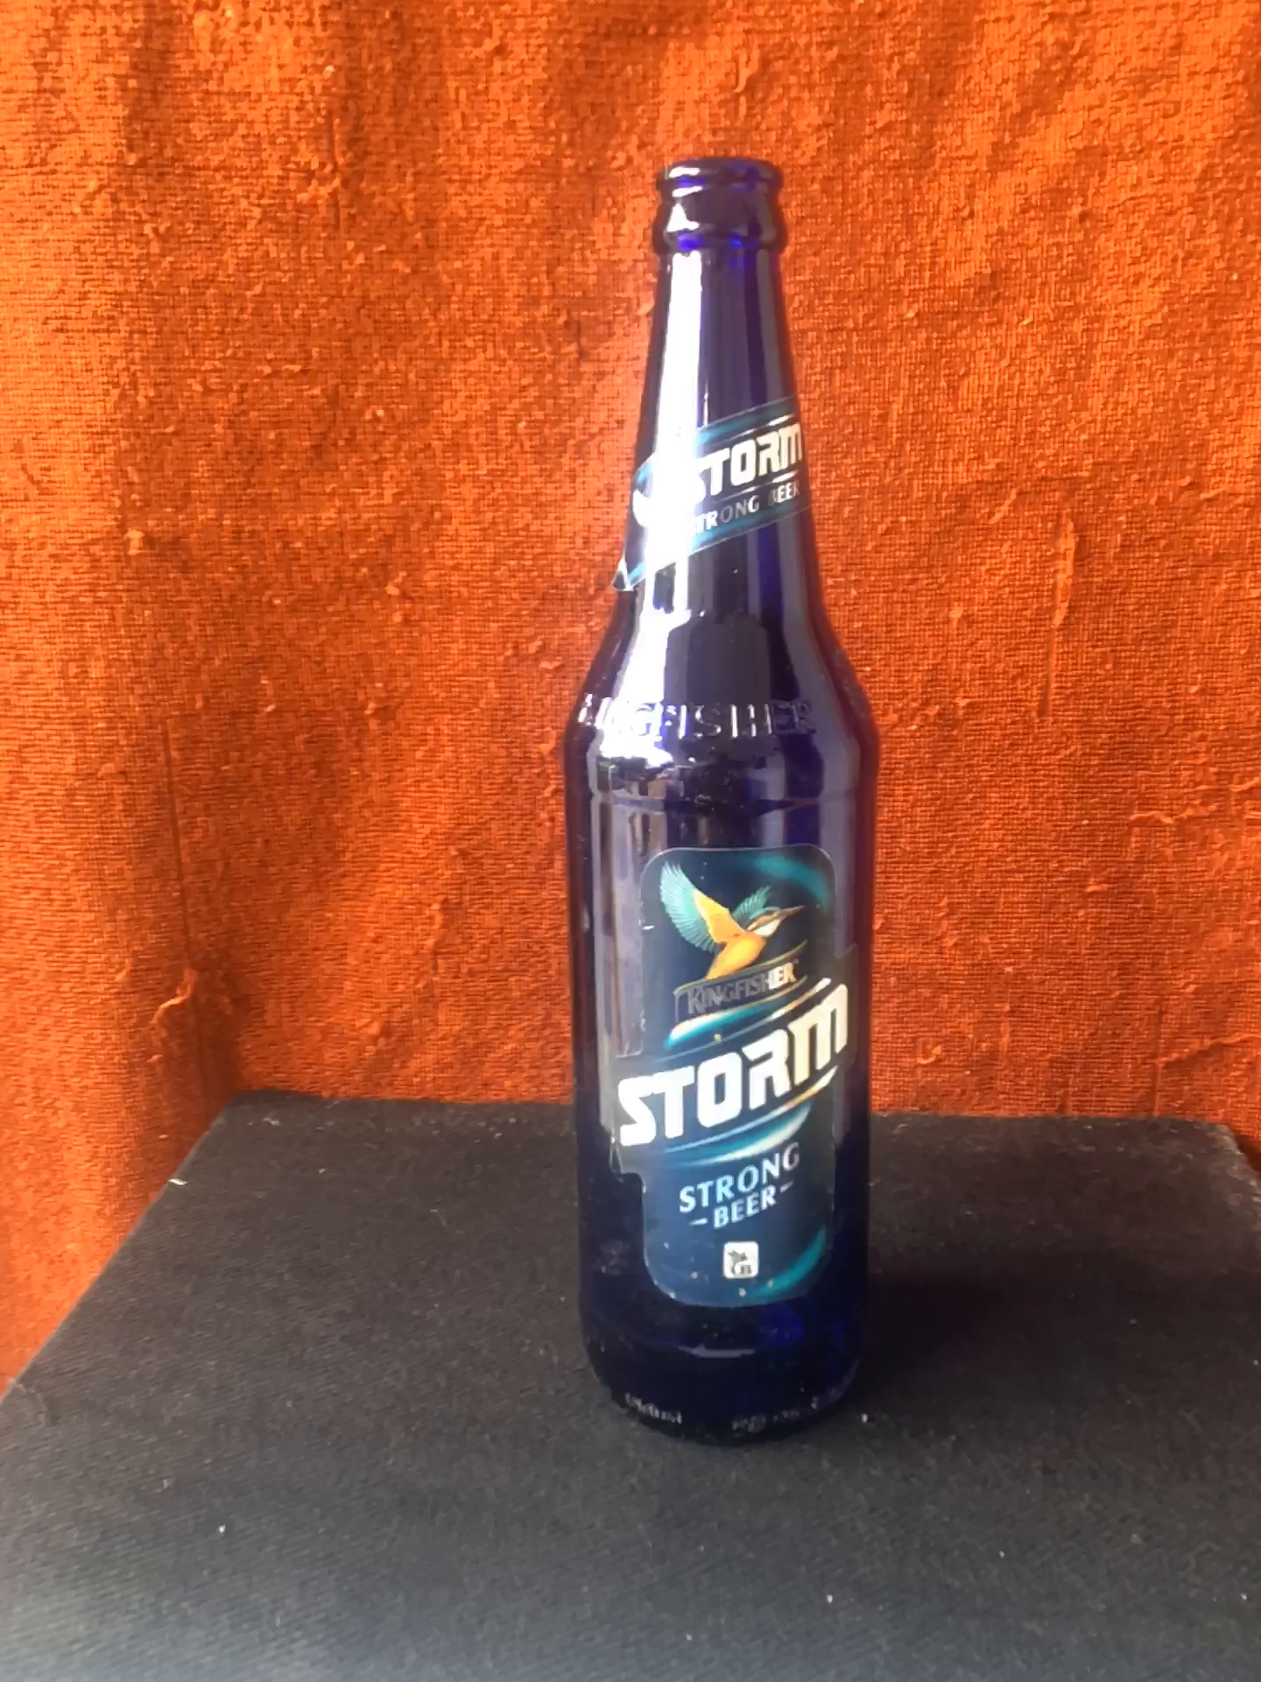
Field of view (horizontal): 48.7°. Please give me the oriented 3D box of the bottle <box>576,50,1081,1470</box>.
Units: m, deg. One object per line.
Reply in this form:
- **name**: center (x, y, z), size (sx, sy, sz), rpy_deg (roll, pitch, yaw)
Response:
- **bottle**: center (0.031, -0.008, 0.309), size (0.080, 0.279, 0.080), rpy_deg (1, 16, 0)
